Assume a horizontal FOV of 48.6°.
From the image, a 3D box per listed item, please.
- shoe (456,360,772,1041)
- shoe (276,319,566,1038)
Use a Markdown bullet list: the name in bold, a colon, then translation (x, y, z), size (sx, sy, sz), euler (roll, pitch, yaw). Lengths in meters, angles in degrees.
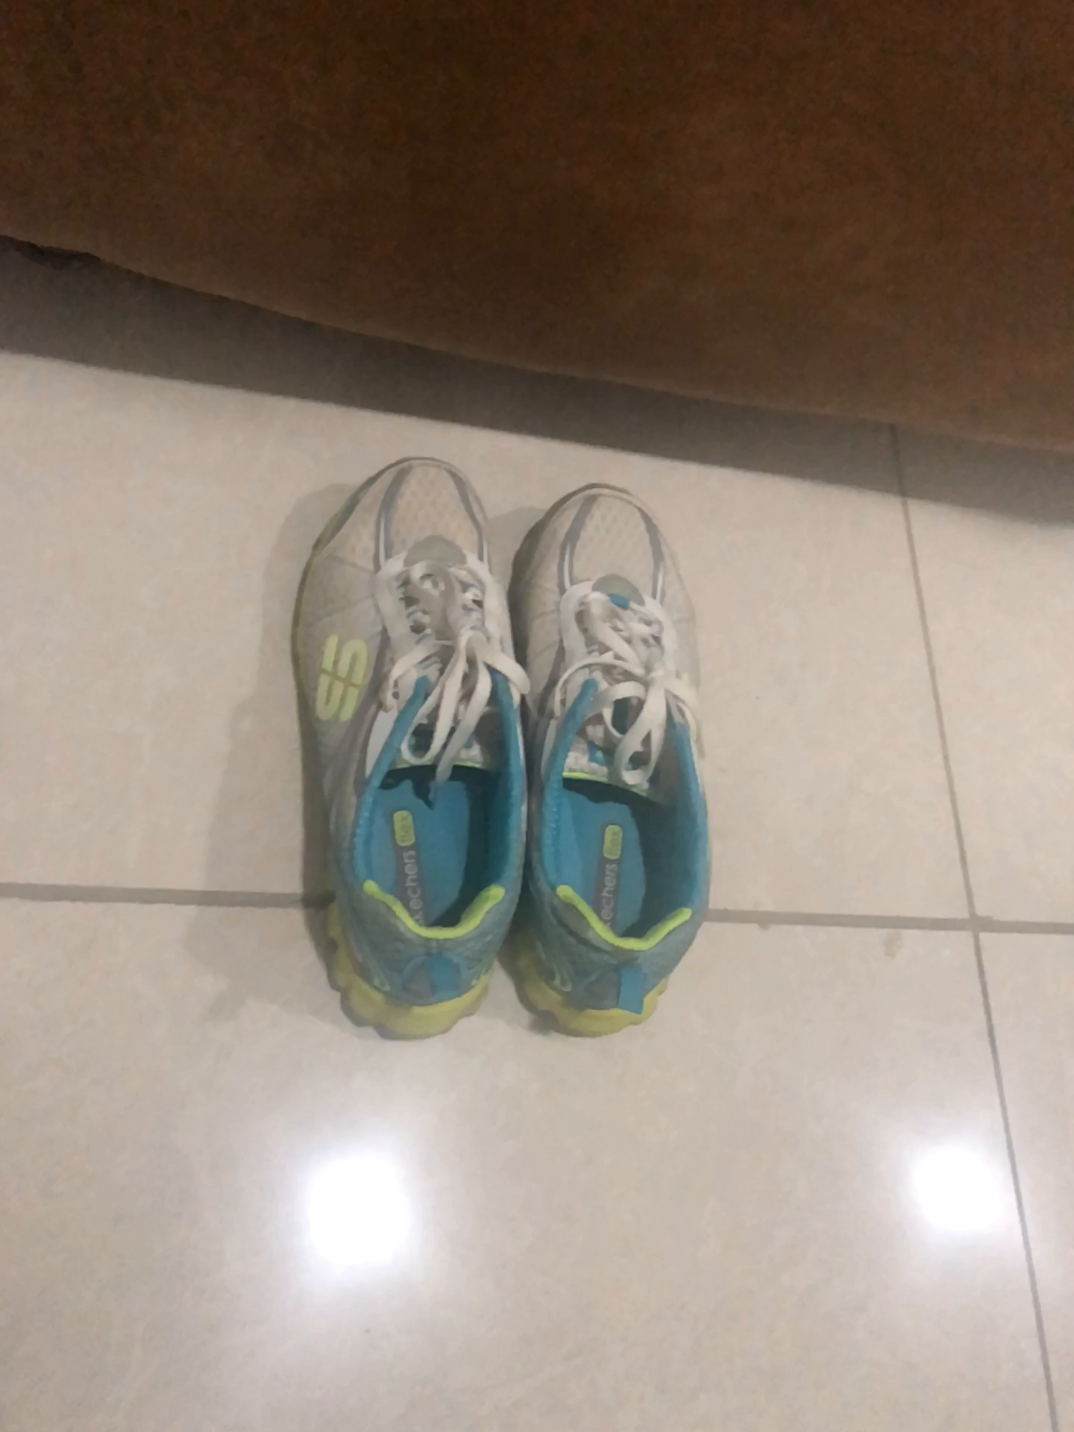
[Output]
- **shoe**: translation (0.033, -0.008, 0.571), size (0.110, 0.100, 0.300), euler (7, 66, -13)
- **shoe**: translation (-0.056, -0.017, 0.533), size (0.100, 0.100, 0.300), euler (4, 67, -15)
